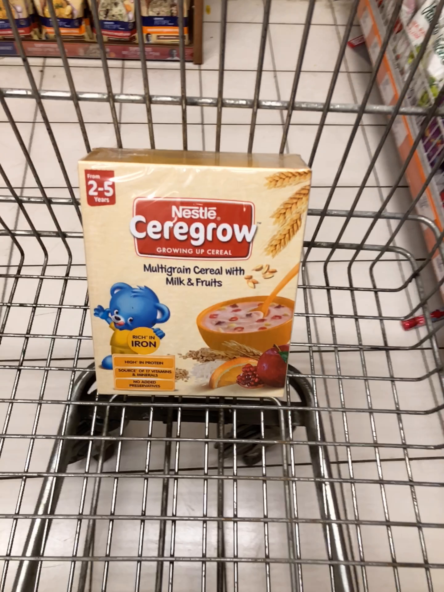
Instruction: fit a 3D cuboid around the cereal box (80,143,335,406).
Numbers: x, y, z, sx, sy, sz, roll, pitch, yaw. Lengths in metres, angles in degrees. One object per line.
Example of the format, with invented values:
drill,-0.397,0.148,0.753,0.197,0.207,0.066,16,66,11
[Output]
cereal box,-0.014,-0.010,0.371,0.160,0.189,0.050,2,27,-3
